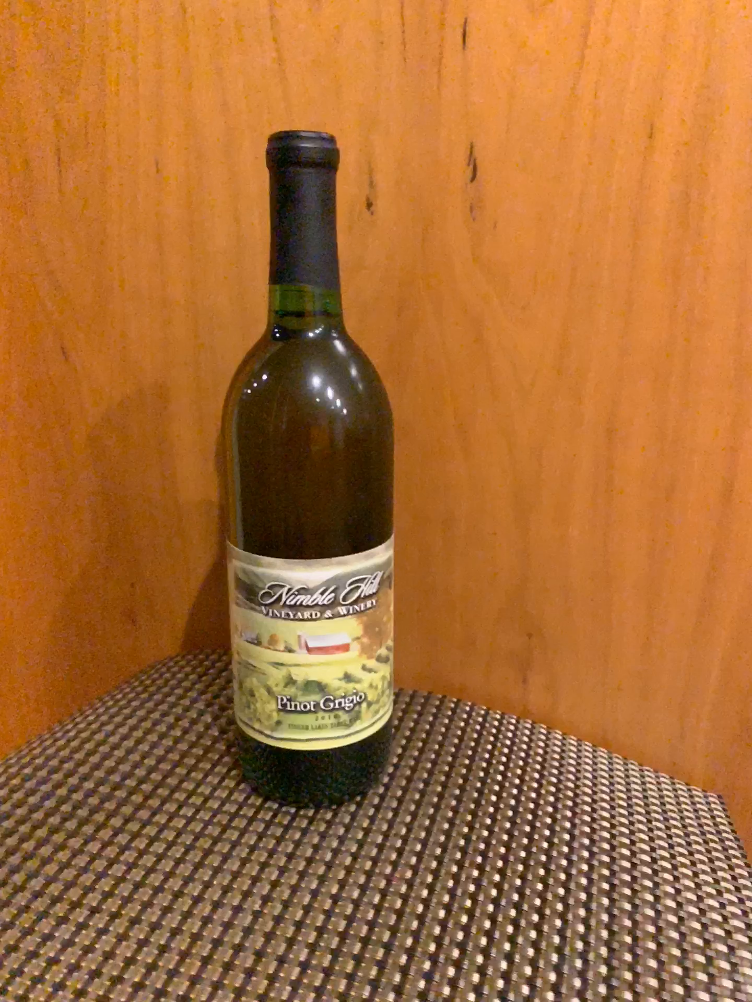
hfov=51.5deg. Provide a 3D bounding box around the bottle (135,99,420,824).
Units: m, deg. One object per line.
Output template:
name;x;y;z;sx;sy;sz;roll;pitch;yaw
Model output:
bottle;-0.032;-0.009;0.322;0.090;0.269;0.080;1;16;0
